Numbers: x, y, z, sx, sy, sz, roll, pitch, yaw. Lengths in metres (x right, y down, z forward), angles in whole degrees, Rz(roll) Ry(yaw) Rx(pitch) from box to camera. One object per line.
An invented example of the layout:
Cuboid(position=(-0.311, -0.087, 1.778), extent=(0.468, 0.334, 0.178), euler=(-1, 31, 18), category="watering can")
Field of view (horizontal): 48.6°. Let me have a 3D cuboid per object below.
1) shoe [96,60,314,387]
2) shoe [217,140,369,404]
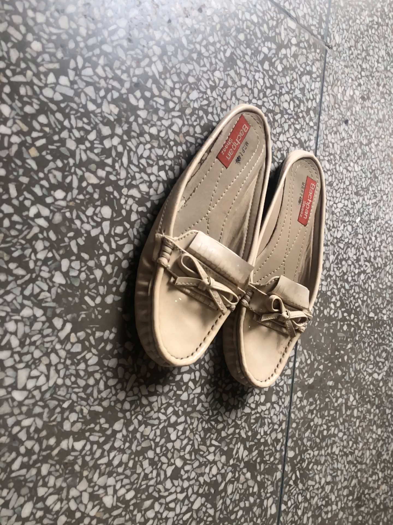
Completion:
Cuboid(position=(0.016, -0.030, 0.332), extent=(0.090, 0.040, 0.220), euler=(33, 72, -35), category="shoe")
Cuboid(position=(0.091, 0.008, 0.385), extent=(0.080, 0.040, 0.210), euler=(28, 74, -37), category="shoe")
